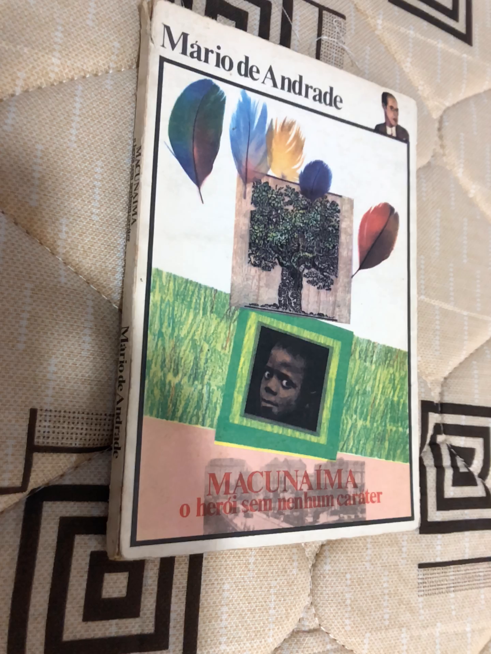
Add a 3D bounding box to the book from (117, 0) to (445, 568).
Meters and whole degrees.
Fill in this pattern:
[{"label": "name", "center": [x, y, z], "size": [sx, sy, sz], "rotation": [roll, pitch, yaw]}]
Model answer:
[{"label": "book", "center": [0.022, -0.016, 0.216], "size": [0.131, 0.020, 0.190], "rotation": [6, 81, -29]}]
